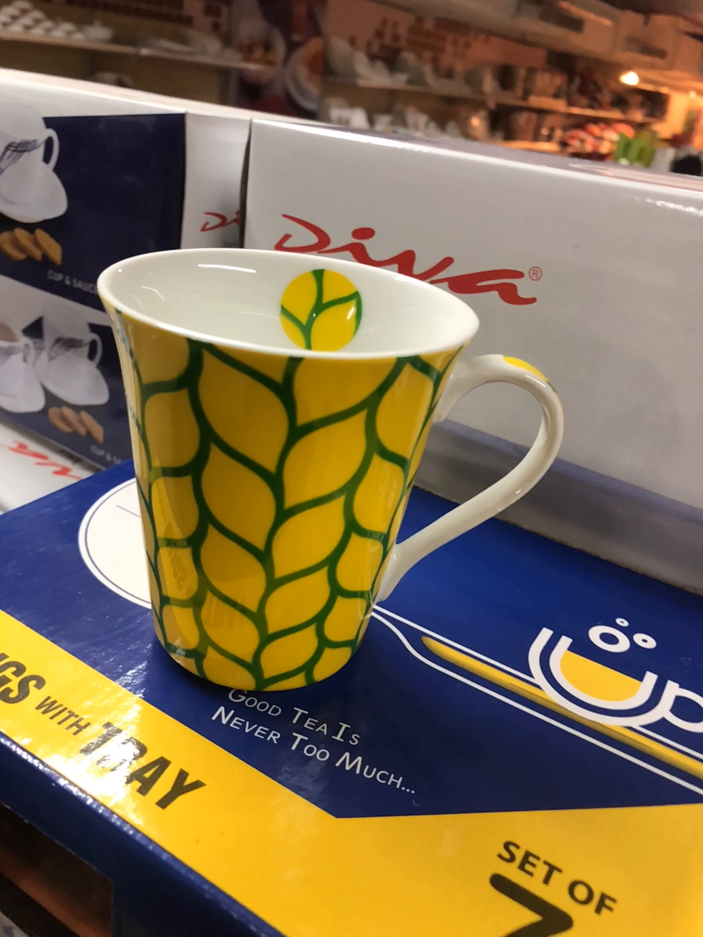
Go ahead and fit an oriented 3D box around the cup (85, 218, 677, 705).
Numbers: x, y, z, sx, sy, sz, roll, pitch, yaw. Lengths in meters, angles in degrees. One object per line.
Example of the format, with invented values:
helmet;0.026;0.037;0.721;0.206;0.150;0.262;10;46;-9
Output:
cup;-0.002;-0.004;0.198;0.110;0.089;0.080;3;26;-10
